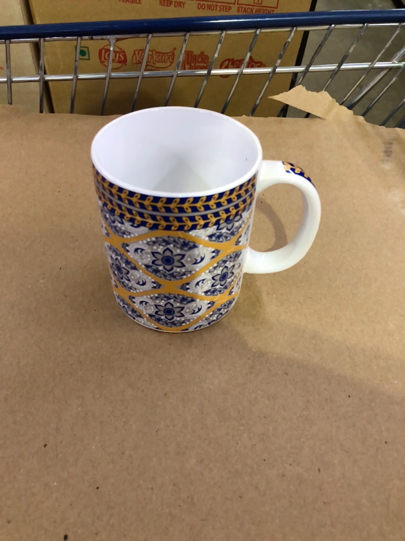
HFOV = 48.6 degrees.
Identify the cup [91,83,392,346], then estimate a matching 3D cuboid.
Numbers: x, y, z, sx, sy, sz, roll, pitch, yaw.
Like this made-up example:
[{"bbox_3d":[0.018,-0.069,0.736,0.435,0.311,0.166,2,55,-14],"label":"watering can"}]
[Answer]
[{"bbox_3d":[0.010,-0.031,0.236,0.120,0.099,0.080,-6,43,-9],"label":"cup"}]
